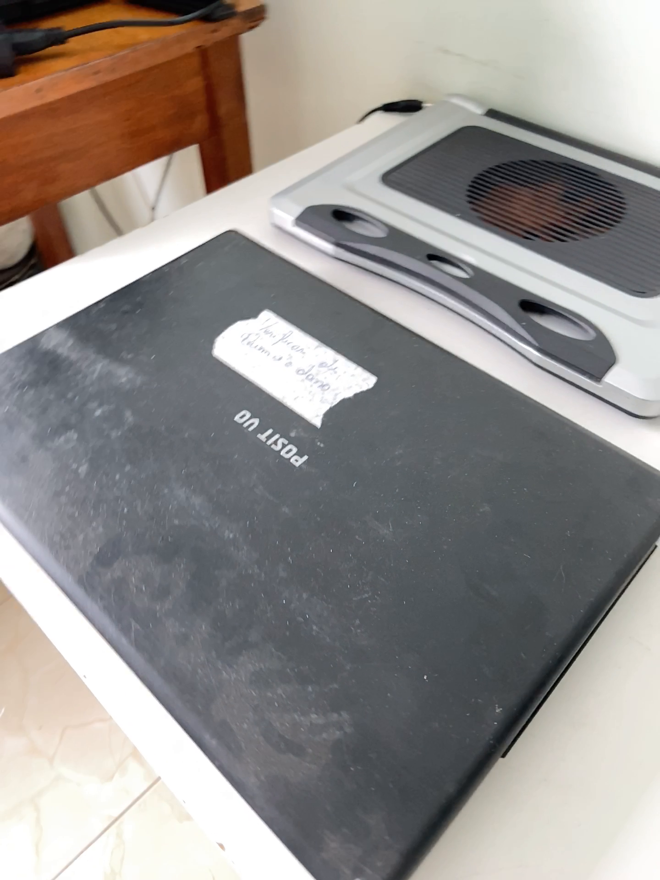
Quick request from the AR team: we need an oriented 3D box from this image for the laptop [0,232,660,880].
[{"bbox_3d":[-0.028,0.008,0.352,0.329,0.008,0.234,36,59,27],"label":"laptop"}]
